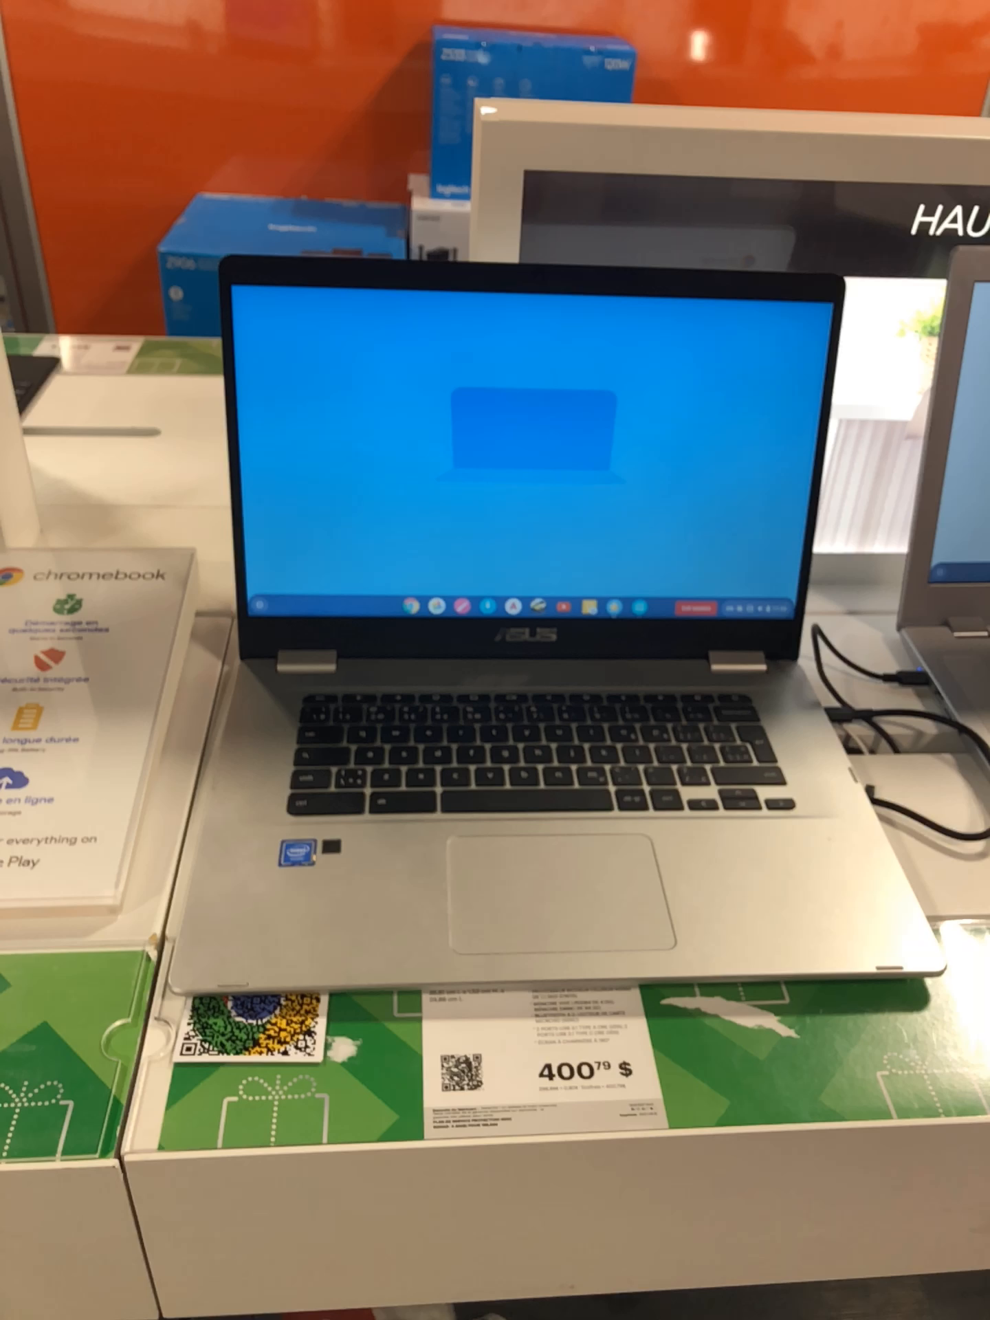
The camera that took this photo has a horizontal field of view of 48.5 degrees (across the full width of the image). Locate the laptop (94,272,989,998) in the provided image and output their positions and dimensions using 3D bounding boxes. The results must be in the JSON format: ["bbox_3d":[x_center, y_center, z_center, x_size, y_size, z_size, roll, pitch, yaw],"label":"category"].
[{"bbox_3d":[0.034,-0.034,0.537,0.337,0.225,0.287,0,35,-4],"label":"laptop"}]
